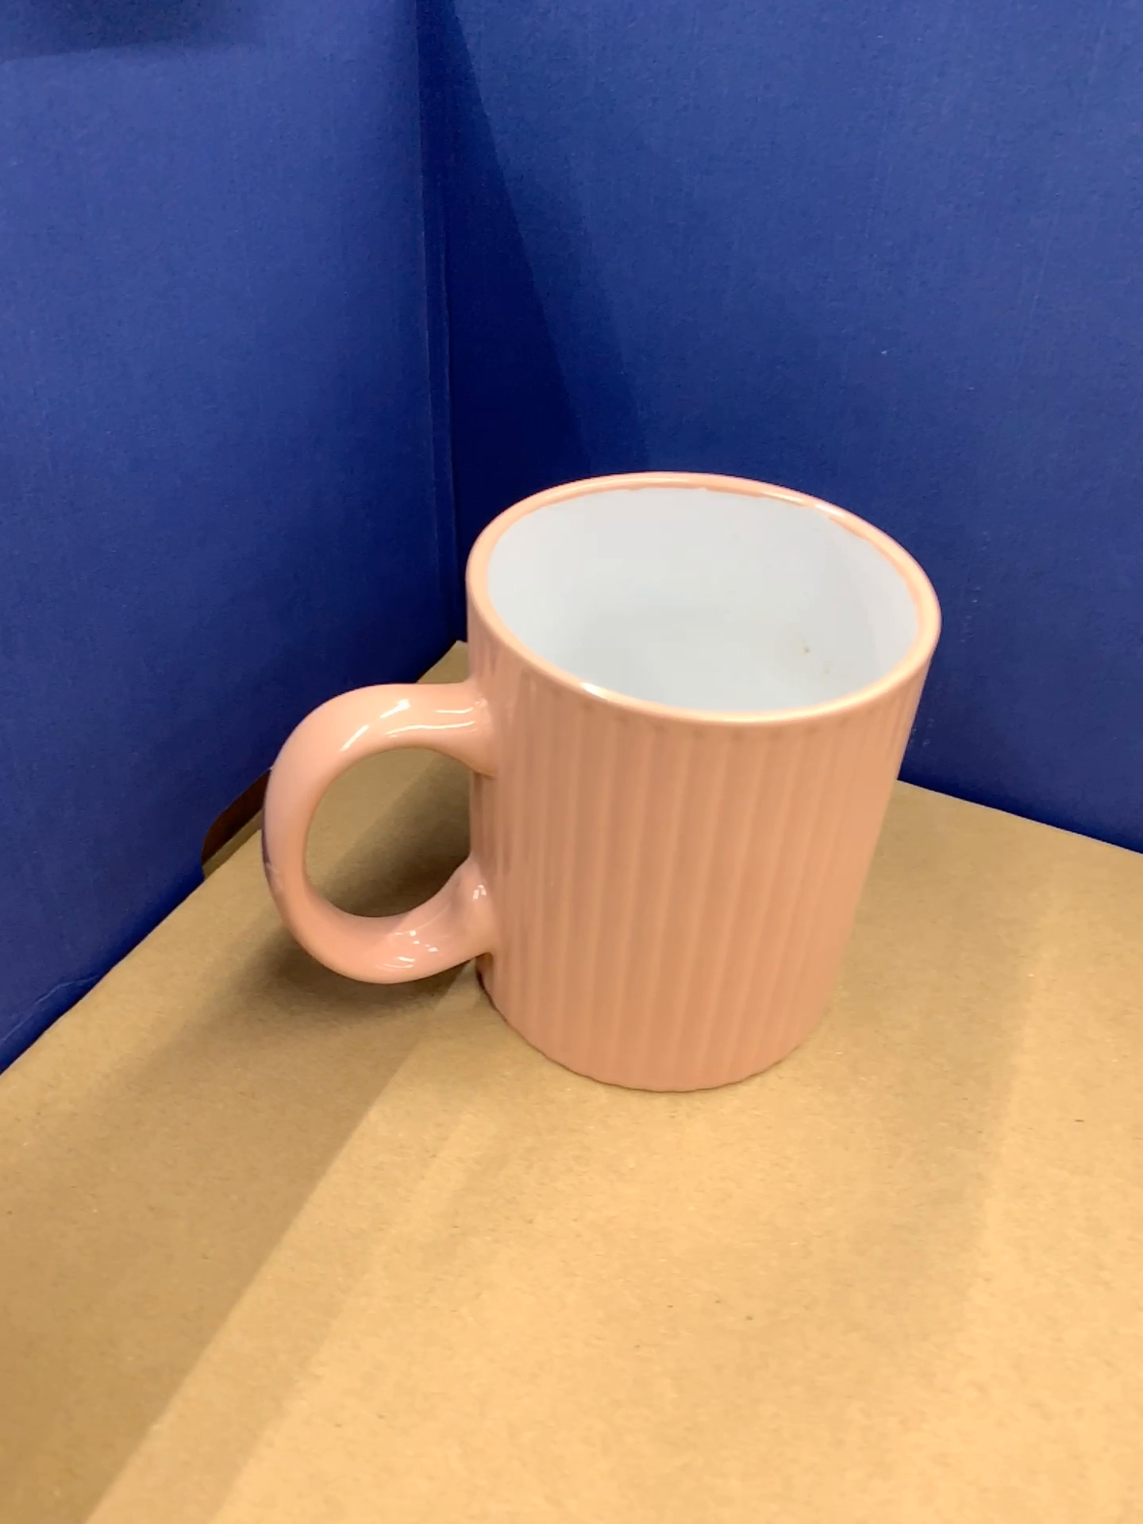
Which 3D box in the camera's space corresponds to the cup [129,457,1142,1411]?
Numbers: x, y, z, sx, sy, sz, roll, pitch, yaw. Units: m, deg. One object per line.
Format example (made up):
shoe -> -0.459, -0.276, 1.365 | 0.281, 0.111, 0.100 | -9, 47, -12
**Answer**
cup -> 0.005, 0.021, 0.241 | 0.155, 0.128, 0.102 | -9, 33, -20
